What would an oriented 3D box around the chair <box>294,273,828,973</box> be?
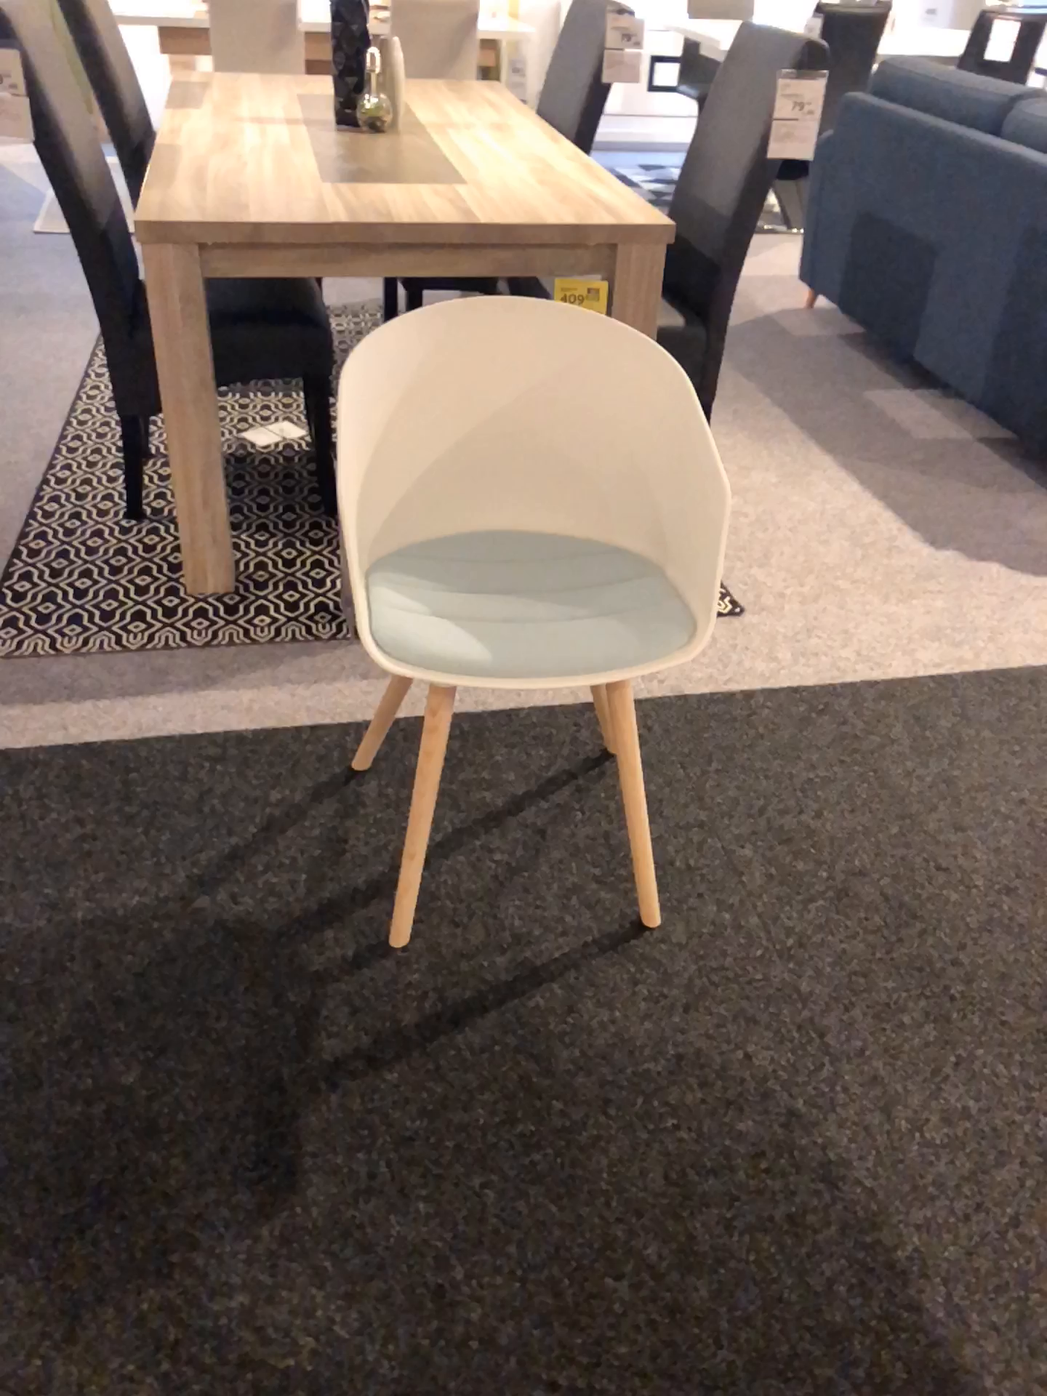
[{"bbox_3d":[-0.009,-0.122,1.616,0.551,0.765,0.583,-3,35,-8],"label":"chair"}]
